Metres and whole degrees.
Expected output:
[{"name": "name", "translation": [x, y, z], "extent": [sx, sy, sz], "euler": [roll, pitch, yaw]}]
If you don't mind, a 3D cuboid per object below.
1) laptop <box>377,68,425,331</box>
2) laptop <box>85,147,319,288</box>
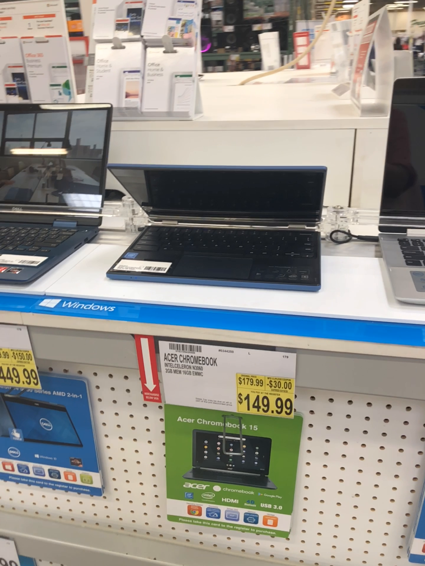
[{"name": "laptop", "translation": [0.406, -0.121, 0.554], "extent": [0.355, 0.216, 0.247], "euler": [4, 28, 13]}, {"name": "laptop", "translation": [0.002, -0.103, 0.652], "extent": [0.279, 0.128, 0.185], "euler": [3, 28, 10]}]
